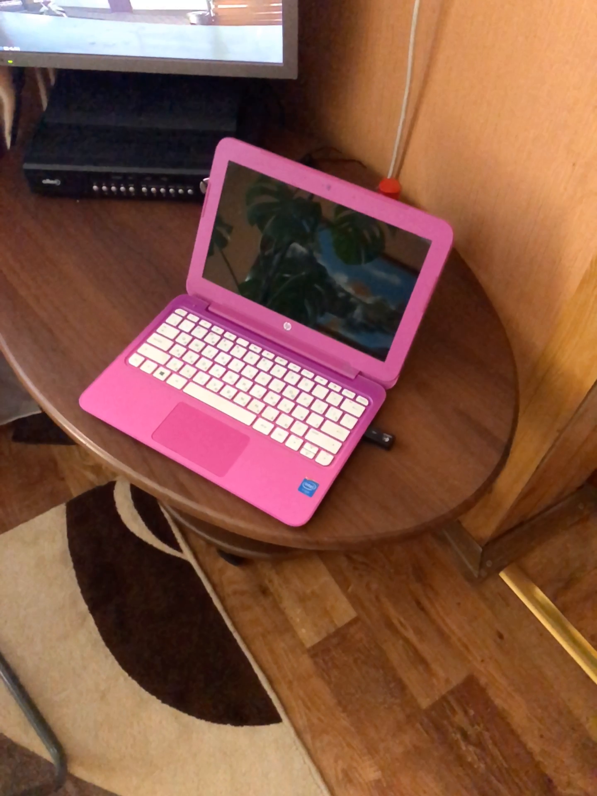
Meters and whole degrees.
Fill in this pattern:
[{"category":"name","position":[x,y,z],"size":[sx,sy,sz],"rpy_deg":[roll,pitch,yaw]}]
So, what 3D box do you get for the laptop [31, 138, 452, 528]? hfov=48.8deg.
[{"category":"laptop","position":[-0.043,-0.082,0.678],"size":[0.279,0.150,0.296],"rpy_deg":[26,59,17]}]
